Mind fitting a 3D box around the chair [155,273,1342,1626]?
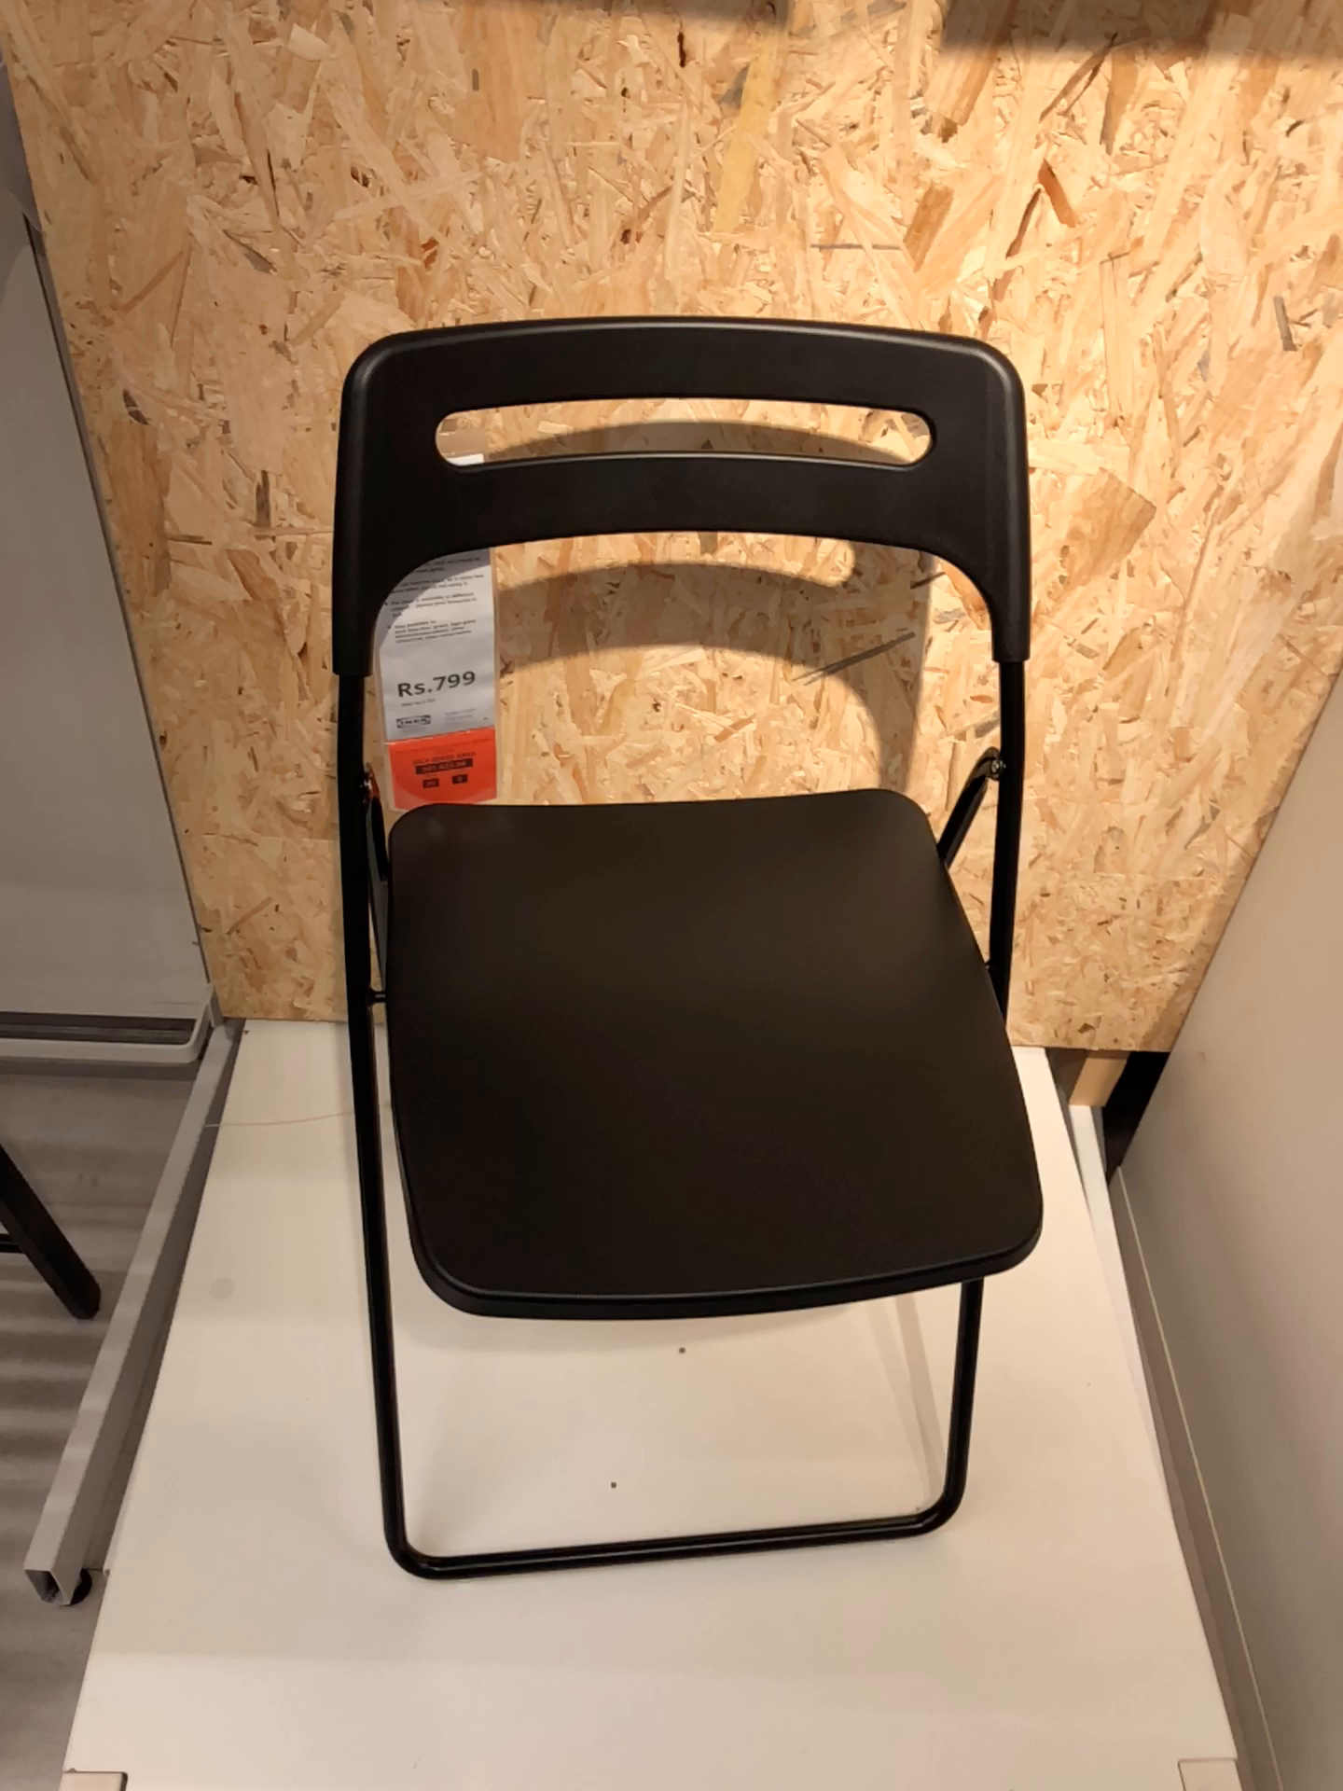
[{"bbox_3d":[0.016,0.059,0.994,0.490,0.735,0.523,-1,44,-6],"label":"chair"}]
